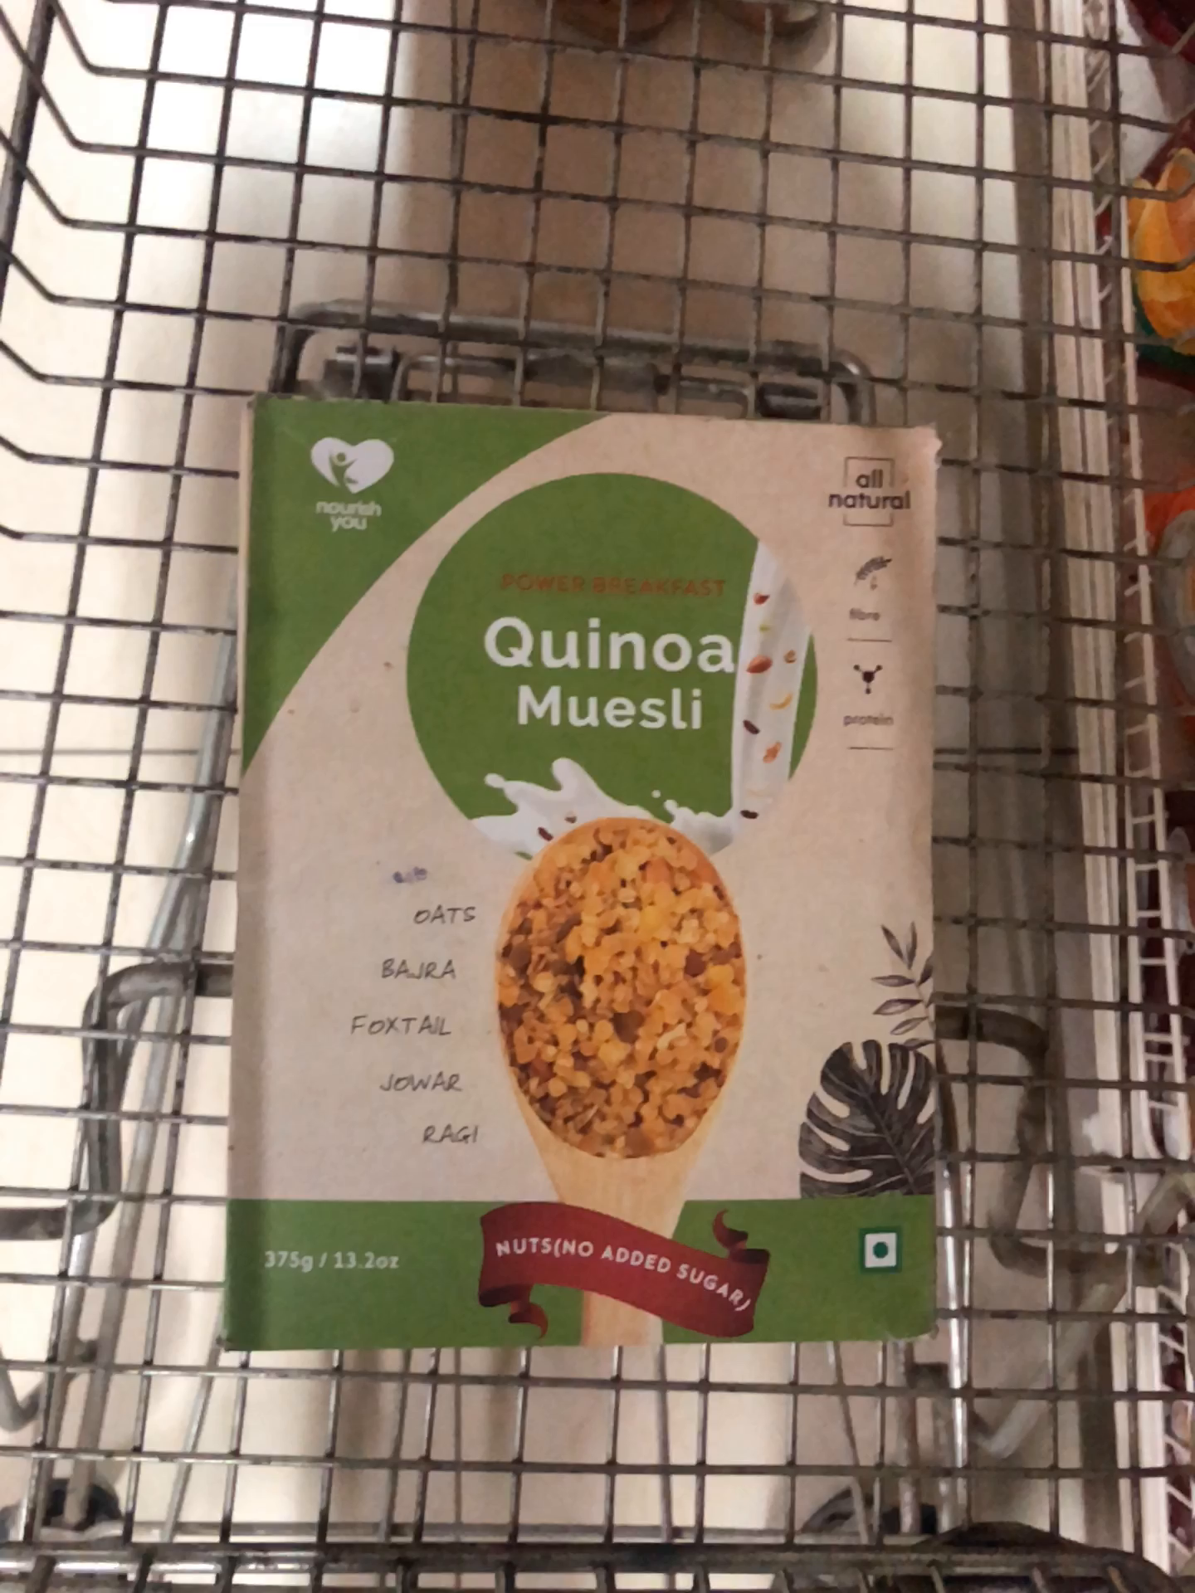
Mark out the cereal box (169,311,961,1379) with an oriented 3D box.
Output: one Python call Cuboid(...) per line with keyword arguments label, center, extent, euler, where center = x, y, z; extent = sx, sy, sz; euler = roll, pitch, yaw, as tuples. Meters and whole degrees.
Cuboid(label="cereal box", center=(-0.006, 0.010, 0.301), extent=(0.160, 0.060, 0.210), euler=(1, 87, -8))
